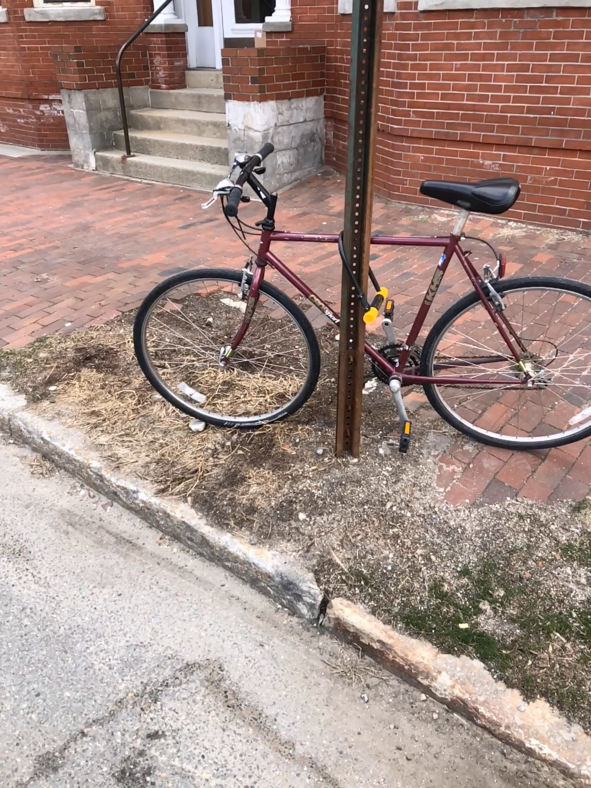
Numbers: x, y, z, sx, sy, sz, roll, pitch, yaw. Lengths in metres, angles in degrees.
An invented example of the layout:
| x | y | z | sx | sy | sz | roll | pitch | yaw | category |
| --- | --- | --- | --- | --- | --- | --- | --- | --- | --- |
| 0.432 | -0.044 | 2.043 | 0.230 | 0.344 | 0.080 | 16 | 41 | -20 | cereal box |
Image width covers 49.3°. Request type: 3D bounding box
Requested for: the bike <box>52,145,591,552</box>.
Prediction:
| x | y | z | sx | sy | sz | roll | pitch | yaw | category |
| --- | --- | --- | --- | --- | --- | --- | --- | --- | --- |
| 0.257 | -0.215 | 2.108 | 1.726 | 1.011 | 0.672 | 5 | 29 | 11 | bike |
